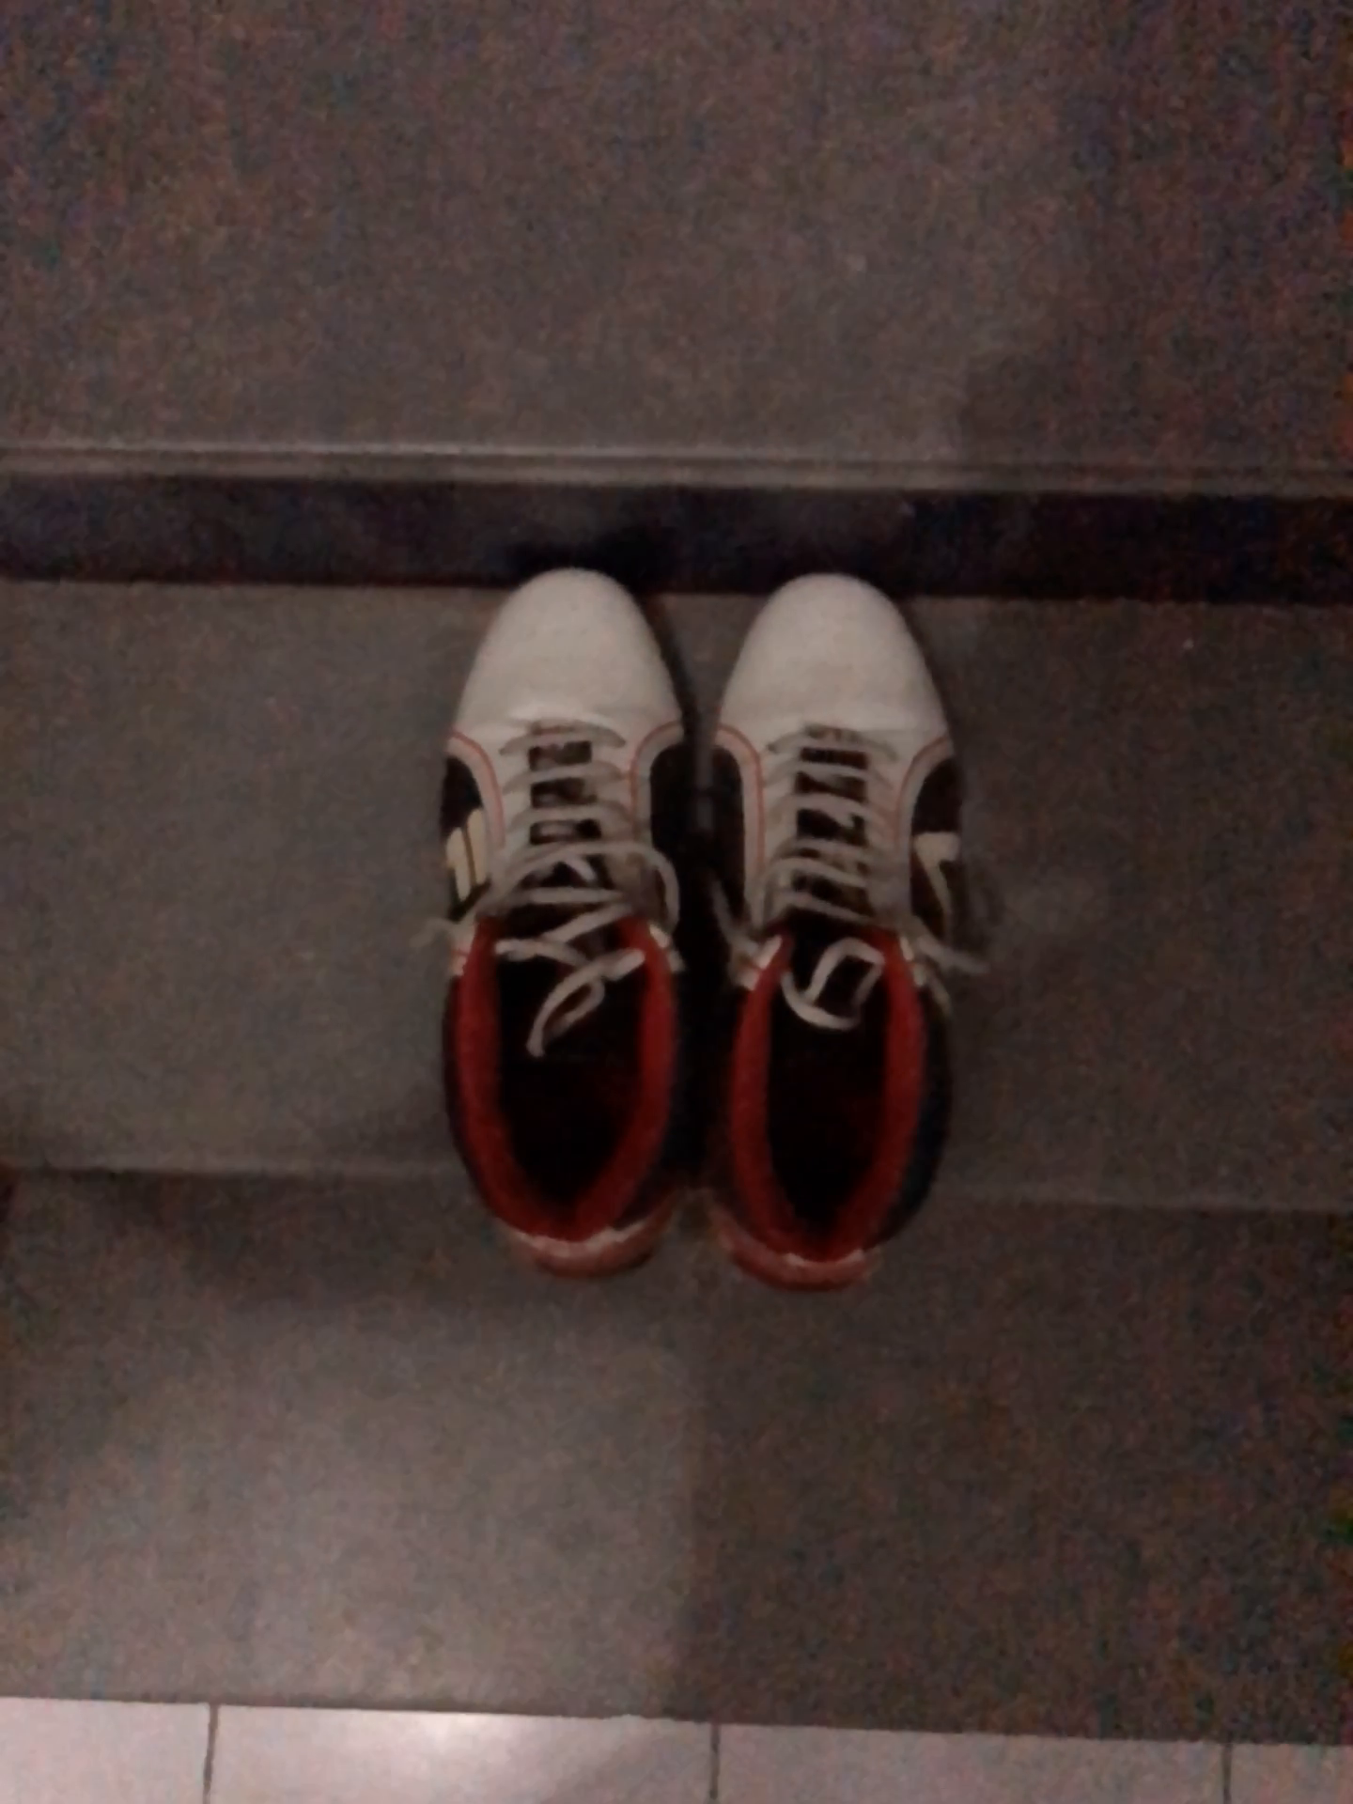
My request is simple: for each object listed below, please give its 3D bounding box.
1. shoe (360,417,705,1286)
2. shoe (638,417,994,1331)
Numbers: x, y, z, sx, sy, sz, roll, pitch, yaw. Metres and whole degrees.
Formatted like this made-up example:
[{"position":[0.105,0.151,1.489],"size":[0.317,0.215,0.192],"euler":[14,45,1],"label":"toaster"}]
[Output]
[{"position":[-0.046,-0.014,0.581],"size":[0.110,0.120,0.310],"euler":[0,77,2],"label":"shoe"},{"position":[0.051,-0.009,0.550],"size":[0.110,0.100,0.310],"euler":[2,77,2],"label":"shoe"}]
